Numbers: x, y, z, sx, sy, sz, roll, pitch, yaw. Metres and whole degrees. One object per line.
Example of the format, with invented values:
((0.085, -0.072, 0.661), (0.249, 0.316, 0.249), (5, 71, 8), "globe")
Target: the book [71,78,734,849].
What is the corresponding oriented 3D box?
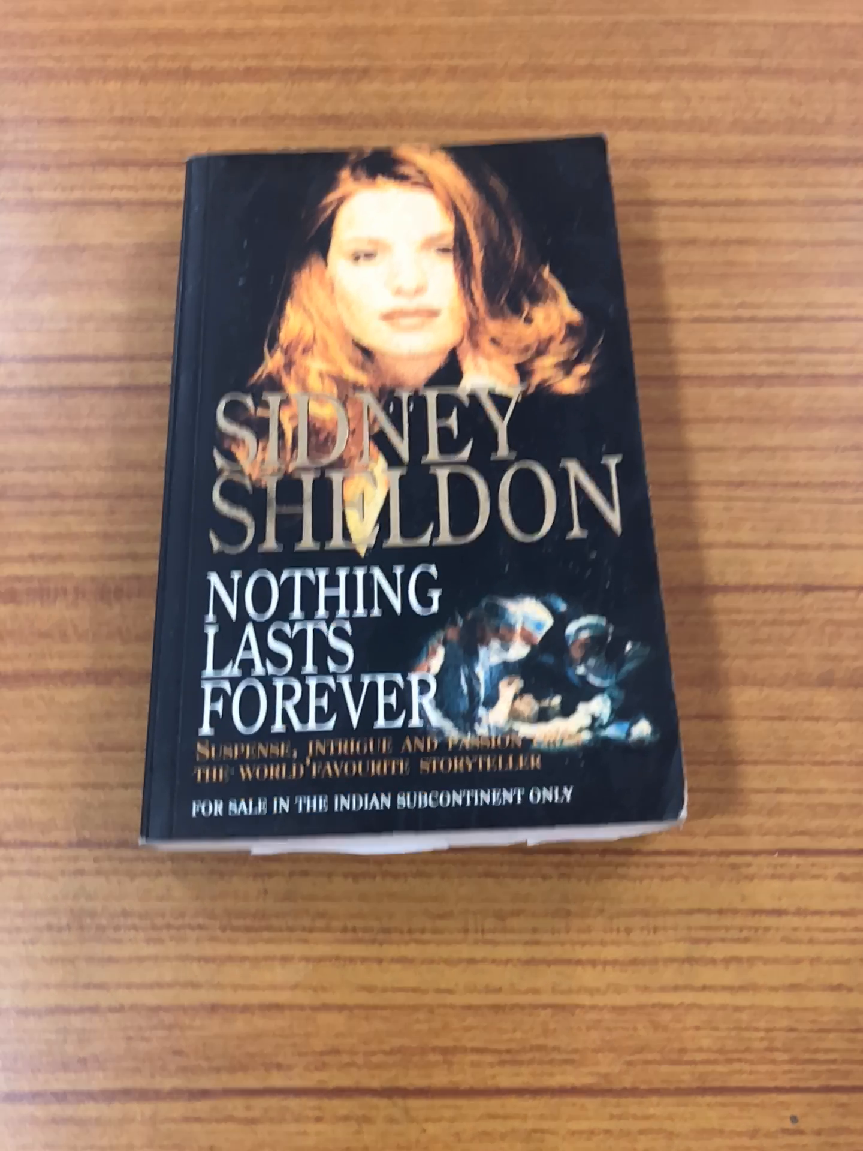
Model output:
((-0.008, -0.030, 0.217), (0.120, 0.030, 0.170), (-2, 71, 0), "book")
